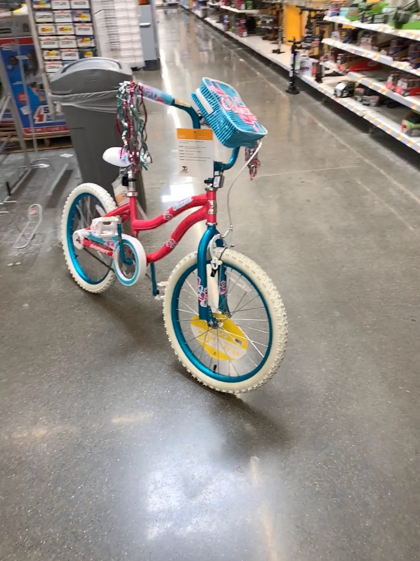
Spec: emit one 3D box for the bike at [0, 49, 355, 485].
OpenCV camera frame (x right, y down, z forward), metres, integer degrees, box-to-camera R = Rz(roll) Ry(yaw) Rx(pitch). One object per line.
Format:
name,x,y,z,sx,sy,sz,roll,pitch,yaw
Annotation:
bike,-0.213,-0.210,1.605,1.264,0.929,0.655,30,45,35
